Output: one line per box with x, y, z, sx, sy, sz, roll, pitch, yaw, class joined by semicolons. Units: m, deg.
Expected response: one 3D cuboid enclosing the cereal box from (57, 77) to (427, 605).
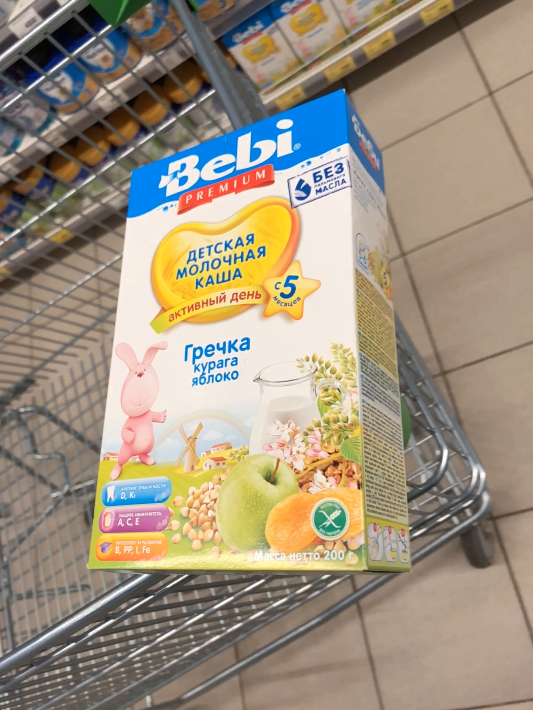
-0.012;-0.003;0.271;0.141;0.050;0.210;-11;66;28;cereal box
